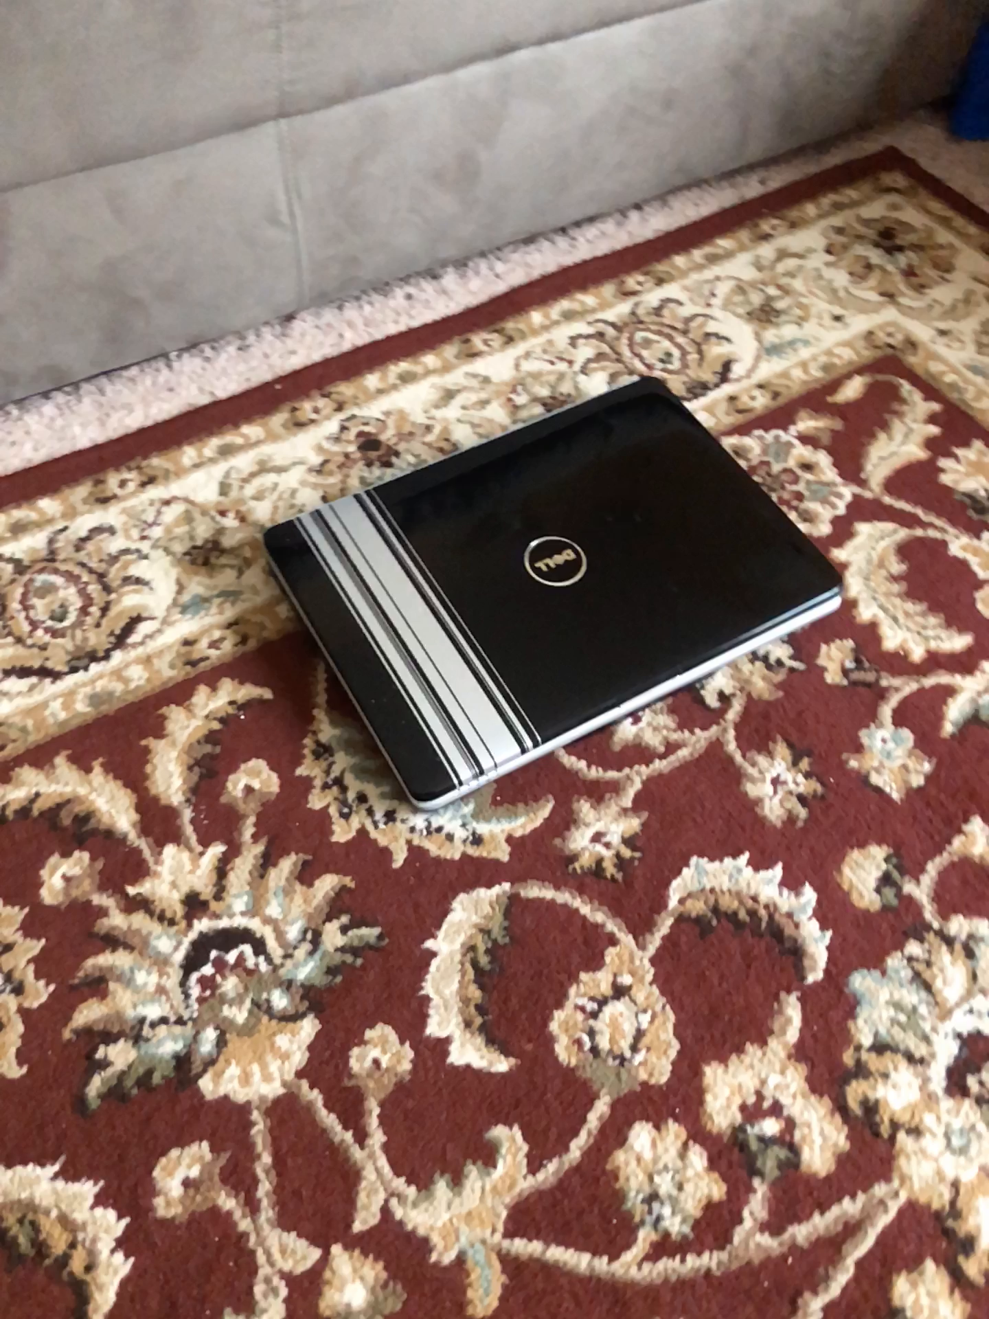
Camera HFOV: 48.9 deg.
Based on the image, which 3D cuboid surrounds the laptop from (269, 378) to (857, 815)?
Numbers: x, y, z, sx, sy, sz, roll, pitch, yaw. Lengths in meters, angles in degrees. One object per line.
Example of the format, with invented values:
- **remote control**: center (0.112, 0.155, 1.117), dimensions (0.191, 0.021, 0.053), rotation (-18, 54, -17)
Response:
- **laptop**: center (0.050, -0.066, 0.791), dimensions (0.351, 0.015, 0.242), rotation (-25, 63, -18)
